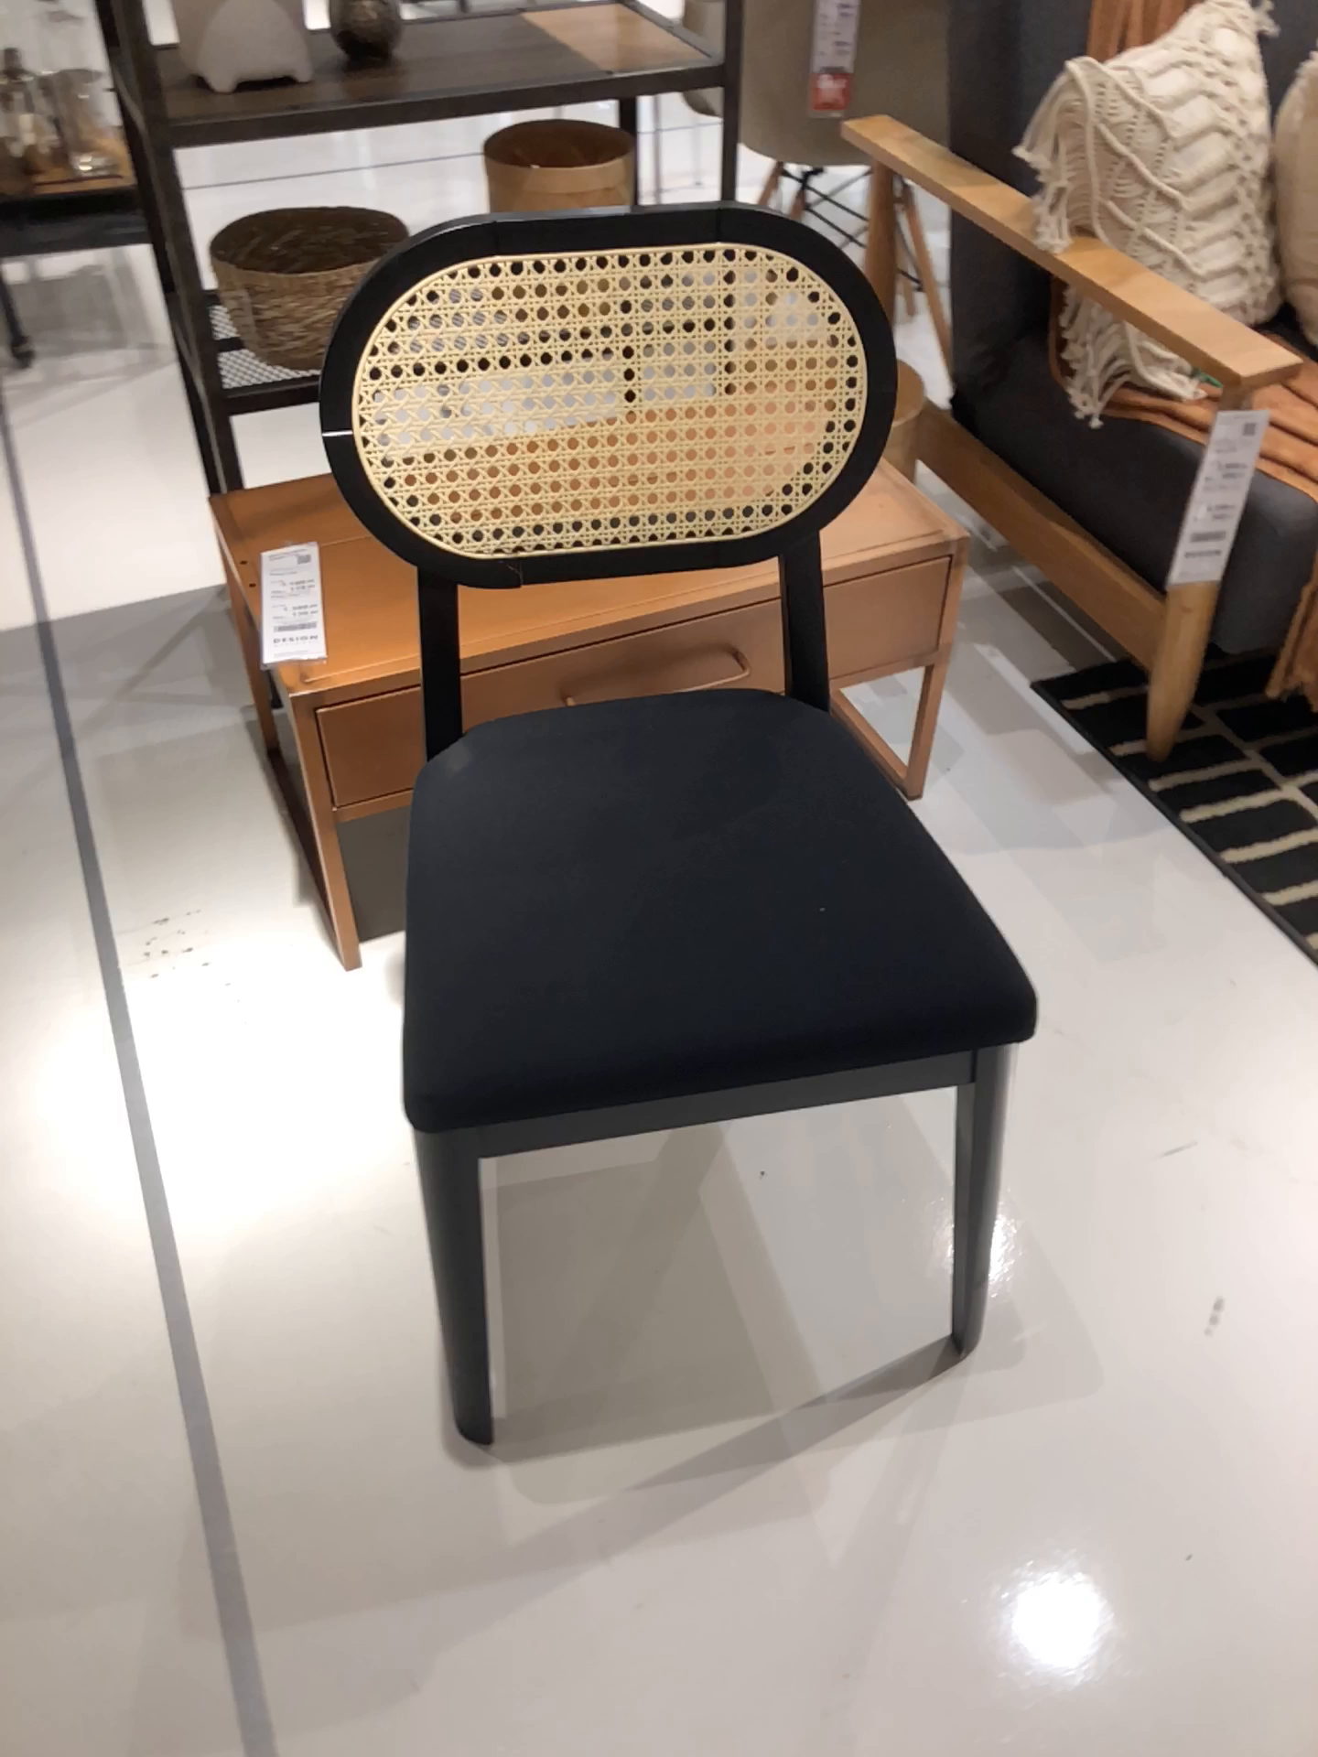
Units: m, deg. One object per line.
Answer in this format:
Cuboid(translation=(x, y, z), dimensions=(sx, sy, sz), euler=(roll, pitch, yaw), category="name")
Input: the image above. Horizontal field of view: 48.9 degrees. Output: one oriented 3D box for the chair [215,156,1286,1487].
Cuboid(translation=(-0.003, -0.030, 1.123), dimensions=(0.500, 0.804, 0.544), euler=(-9, 43, -10), category="chair")
